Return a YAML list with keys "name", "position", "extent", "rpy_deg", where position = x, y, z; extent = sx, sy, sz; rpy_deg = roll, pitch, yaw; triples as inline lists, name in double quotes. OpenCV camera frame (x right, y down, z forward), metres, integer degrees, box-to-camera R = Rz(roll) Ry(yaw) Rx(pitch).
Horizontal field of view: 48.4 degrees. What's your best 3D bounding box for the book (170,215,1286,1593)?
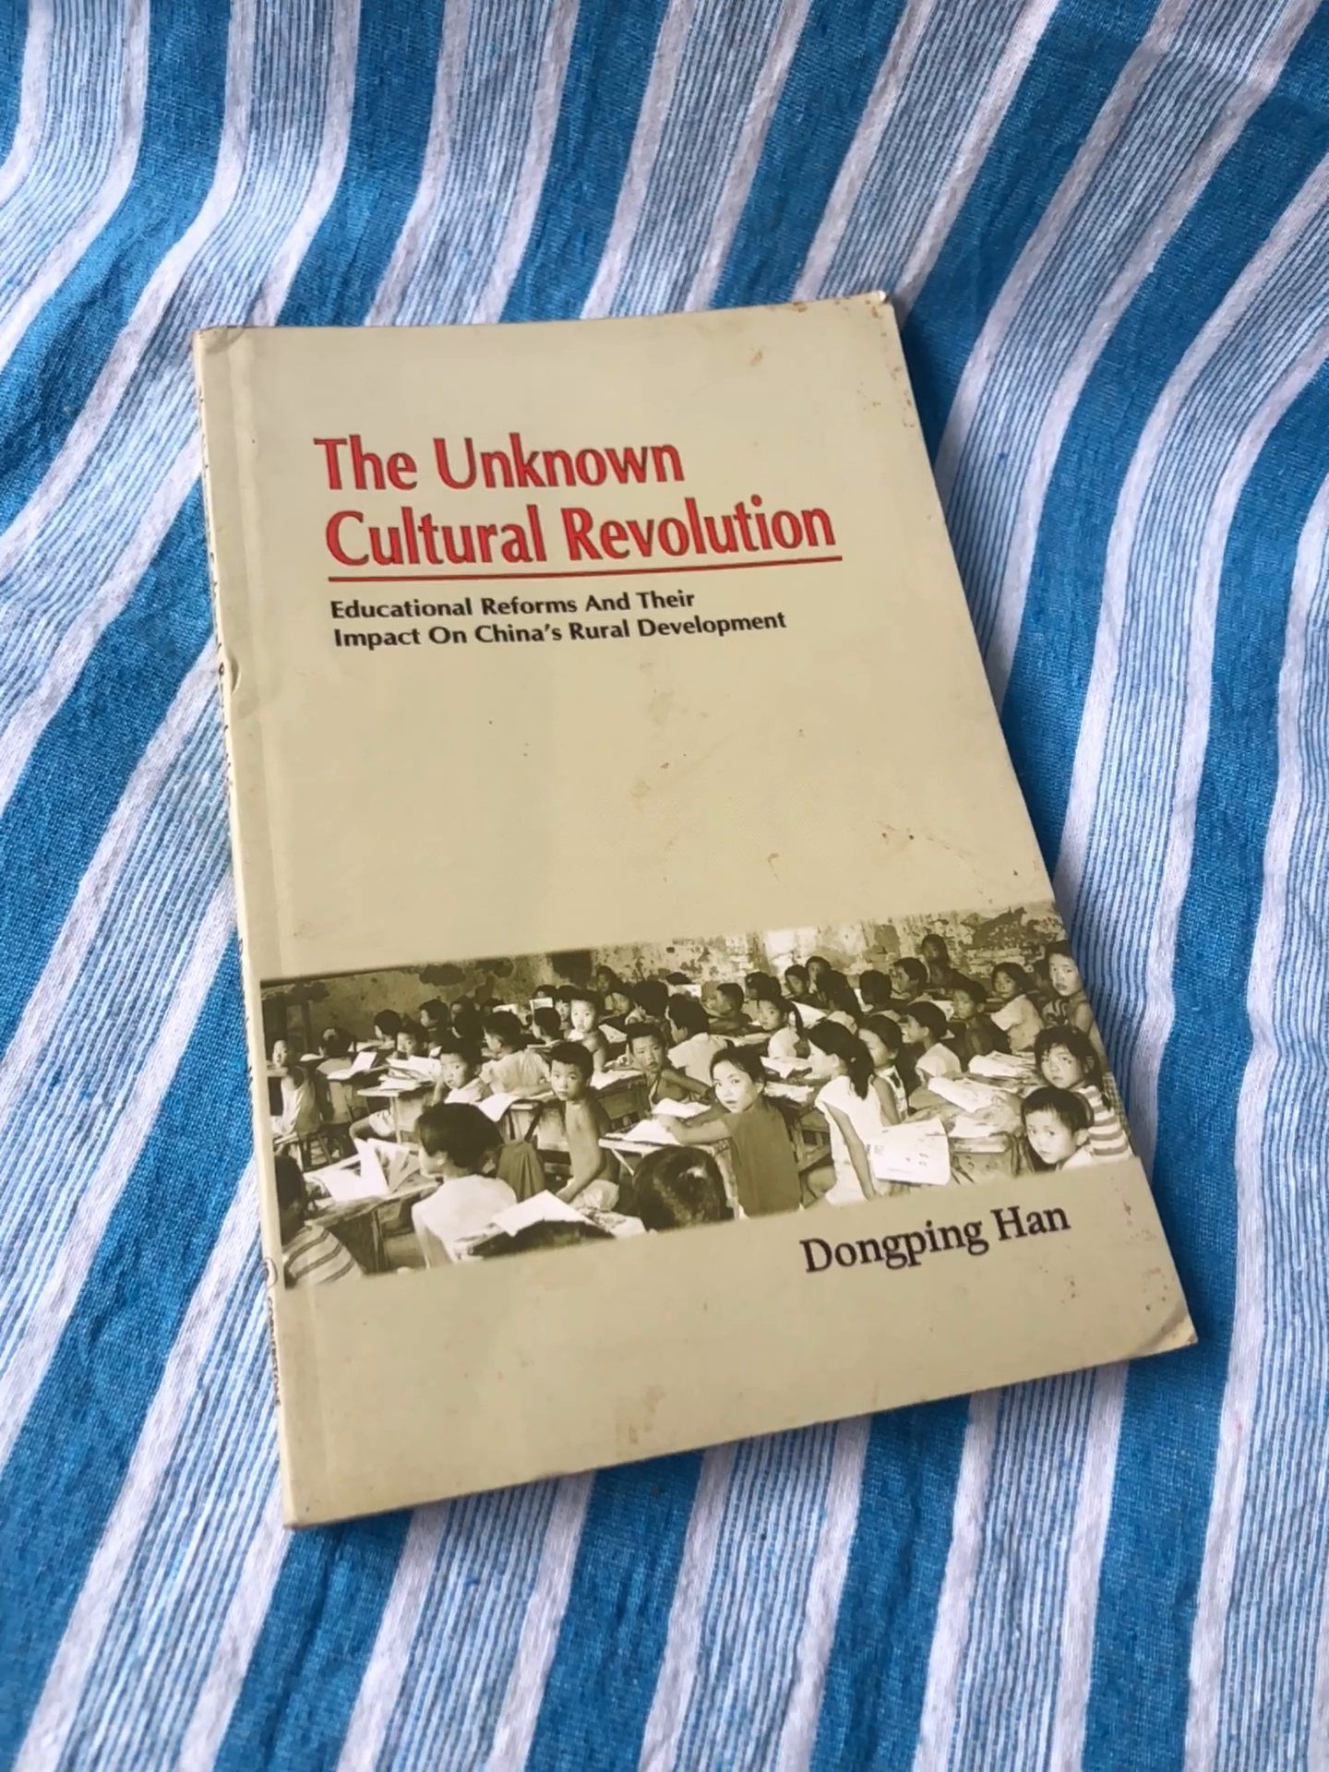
- name: "book"
  position: [-0.006, -0.021, 0.249]
  extent: [0.140, 0.020, 0.230]
  rpy_deg: [-7, 64, -8]
